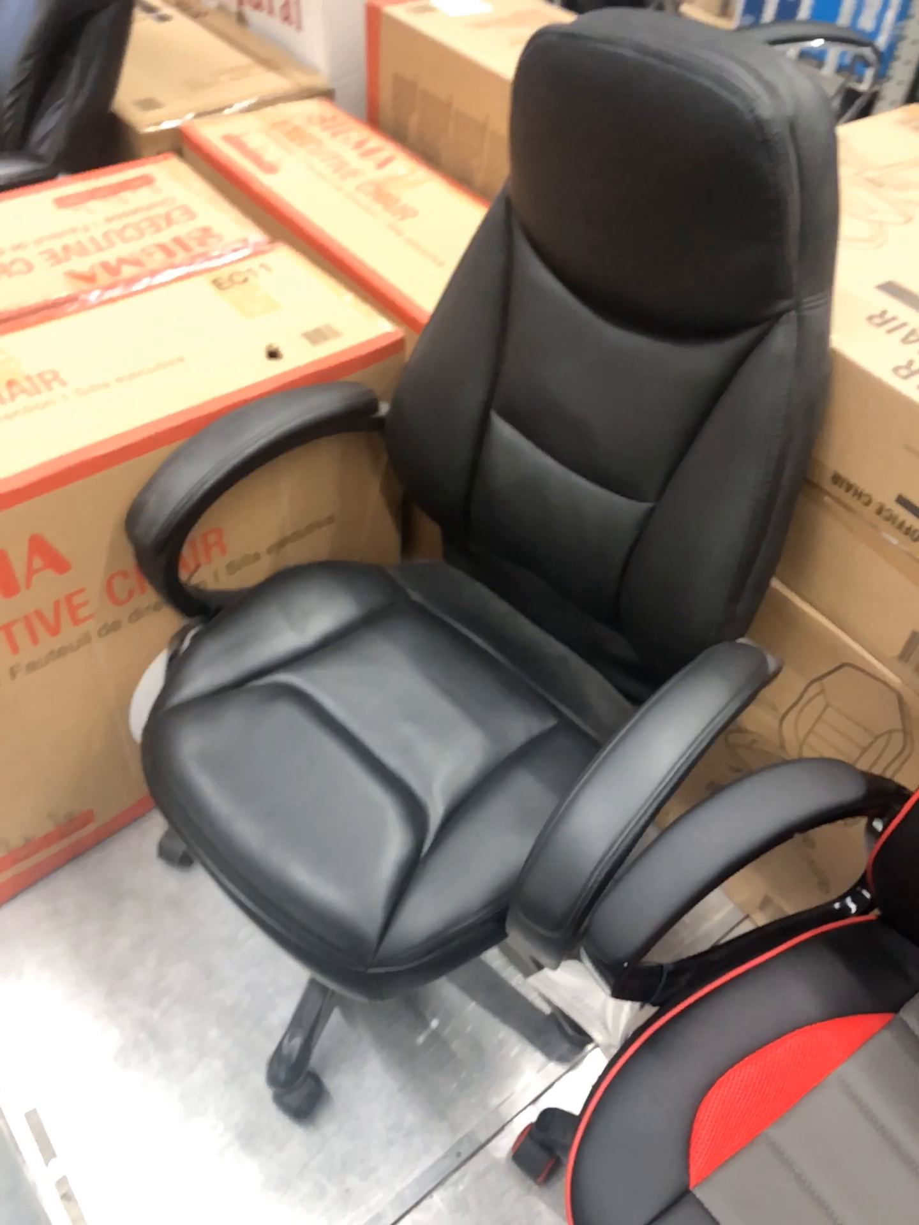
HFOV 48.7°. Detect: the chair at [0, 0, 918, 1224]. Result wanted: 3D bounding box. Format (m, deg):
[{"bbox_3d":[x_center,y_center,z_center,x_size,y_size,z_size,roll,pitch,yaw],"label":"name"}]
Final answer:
[{"bbox_3d":[-0.010,0.029,1.120,0.722,1.063,0.743,36,55,25],"label":"chair"}]
